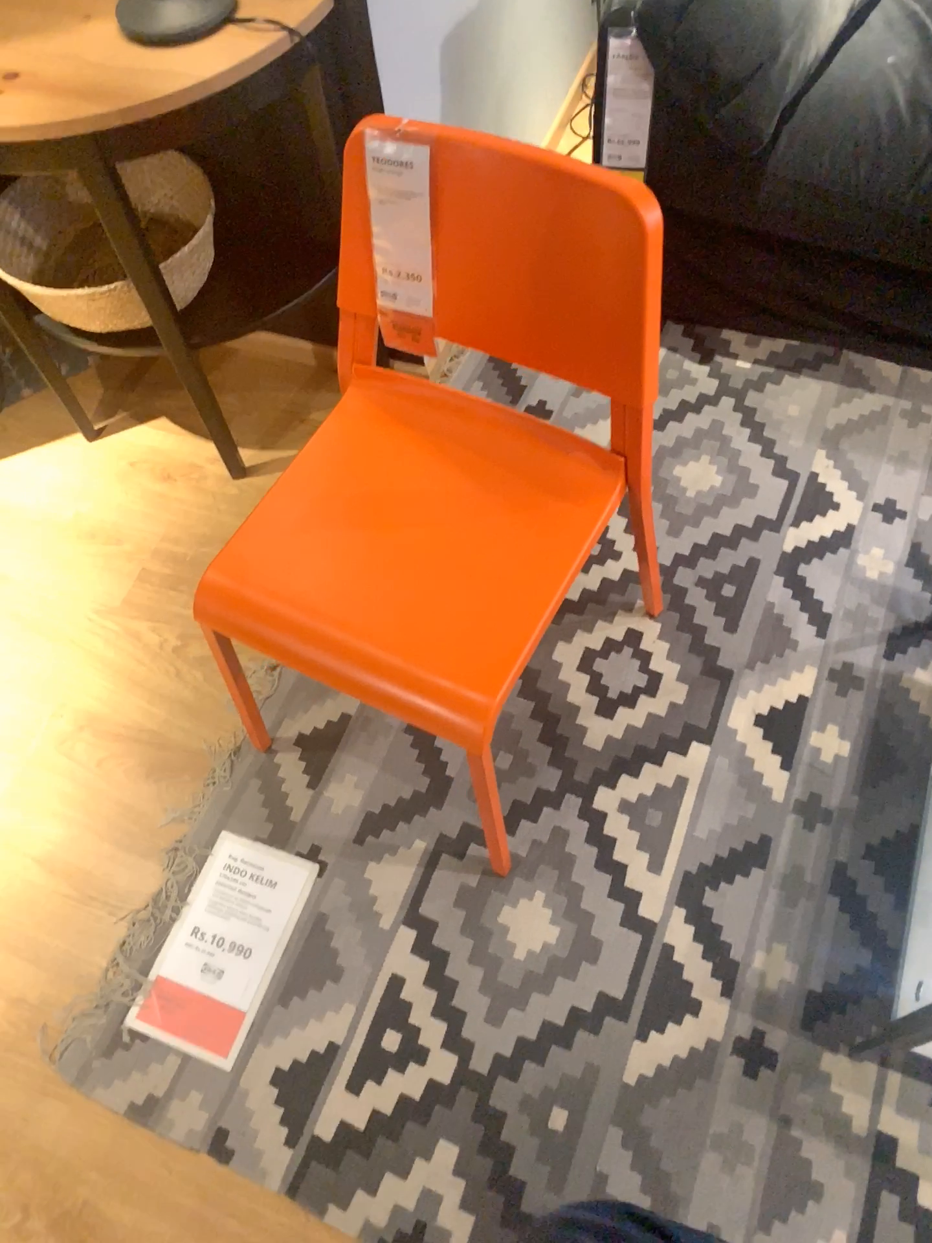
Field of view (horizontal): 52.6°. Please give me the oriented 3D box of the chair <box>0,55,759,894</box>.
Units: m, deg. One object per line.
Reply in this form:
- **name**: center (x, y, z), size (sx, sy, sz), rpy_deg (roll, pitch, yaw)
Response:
- **chair**: center (-0.051, -0.121, 1.148), size (0.511, 0.739, 0.540), rpy_deg (22, 64, 17)
